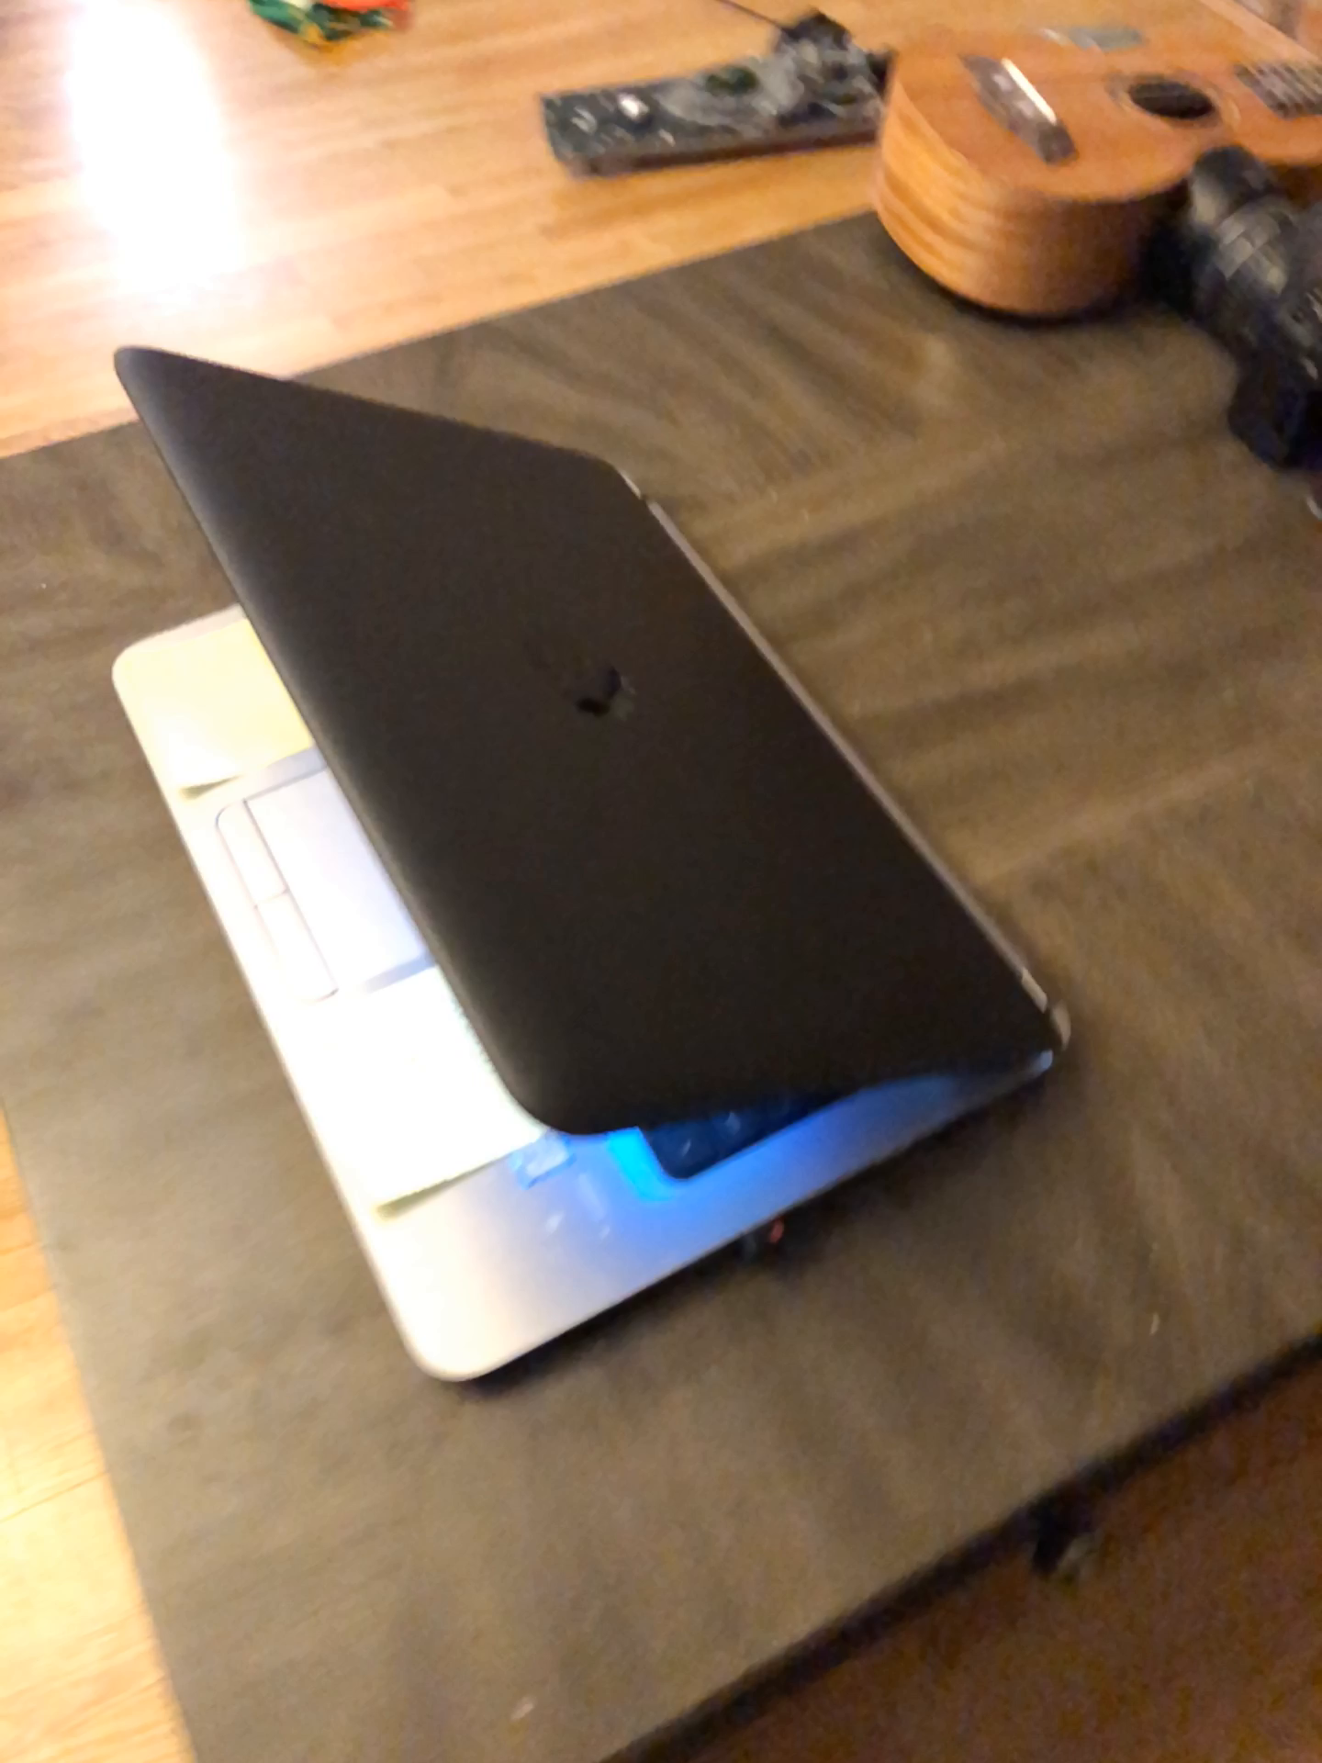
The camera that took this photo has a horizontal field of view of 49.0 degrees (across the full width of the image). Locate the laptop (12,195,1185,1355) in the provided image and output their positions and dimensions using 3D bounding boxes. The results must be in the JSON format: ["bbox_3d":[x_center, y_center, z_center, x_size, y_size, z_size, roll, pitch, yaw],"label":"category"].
[{"bbox_3d":[-0.037,-0.058,0.491,0.226,0.131,0.325,-24,61,-17],"label":"laptop"}]
